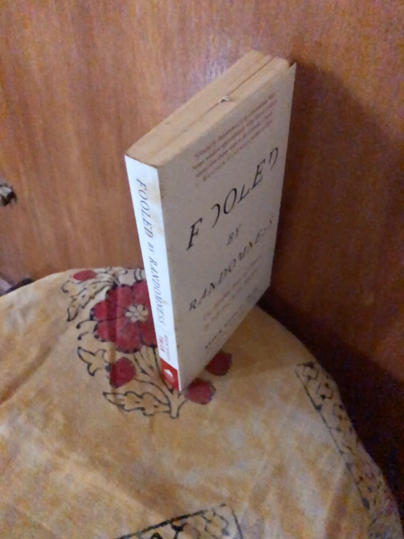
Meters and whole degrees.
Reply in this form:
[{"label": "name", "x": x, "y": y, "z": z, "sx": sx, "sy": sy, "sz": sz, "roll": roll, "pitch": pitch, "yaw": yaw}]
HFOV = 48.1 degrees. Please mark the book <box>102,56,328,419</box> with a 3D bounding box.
[{"label": "book", "x": 0.011, "y": -0.018, "z": 0.311, "sx": 0.040, "sy": 0.199, "sz": 0.161, "roll": 28, "pitch": 47, "yaw": 22}]
